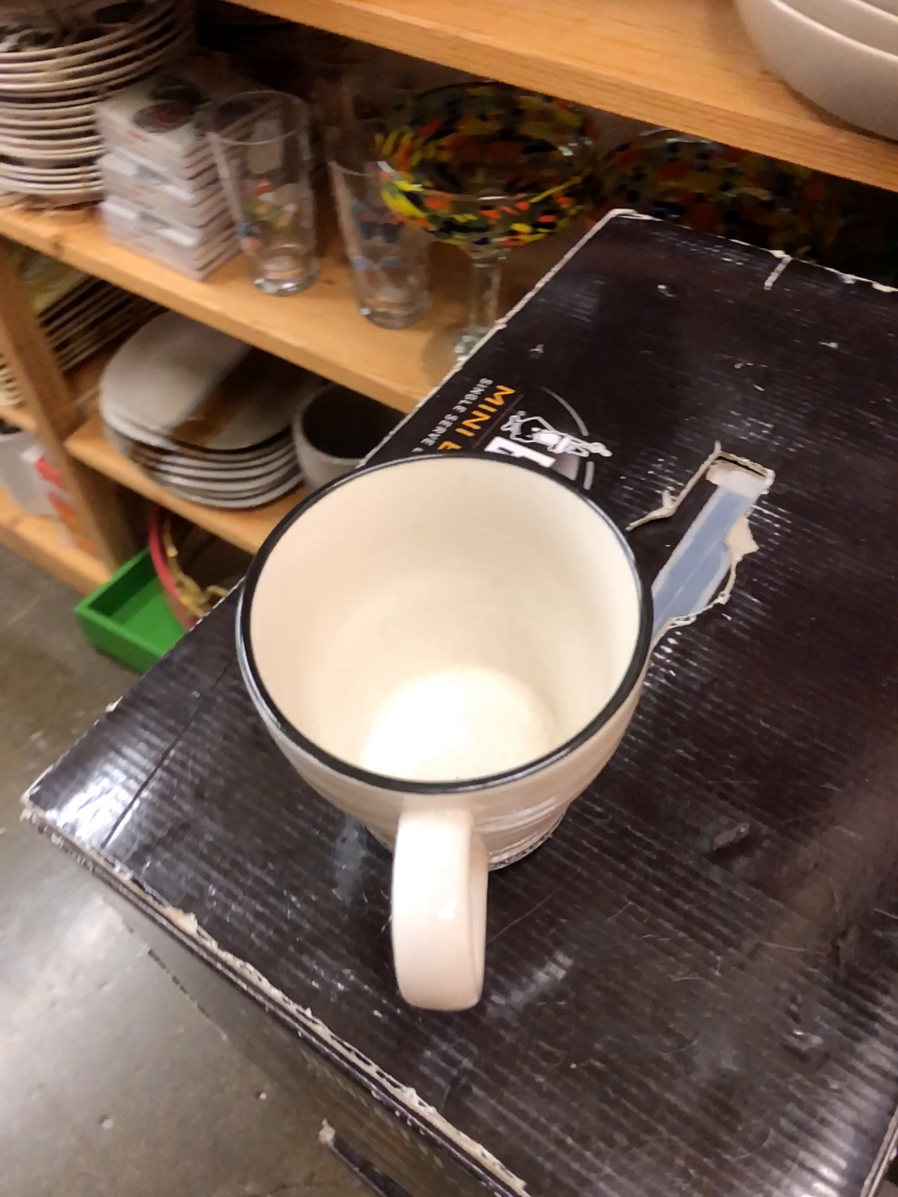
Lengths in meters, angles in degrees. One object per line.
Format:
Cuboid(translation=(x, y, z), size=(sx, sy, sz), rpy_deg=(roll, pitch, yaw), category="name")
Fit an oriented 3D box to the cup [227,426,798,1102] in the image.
Cuboid(translation=(0.005, 0.039, 0.247), size=(0.101, 0.084, 0.131), rpy_deg=(-7, 54, -2), category="cup")
